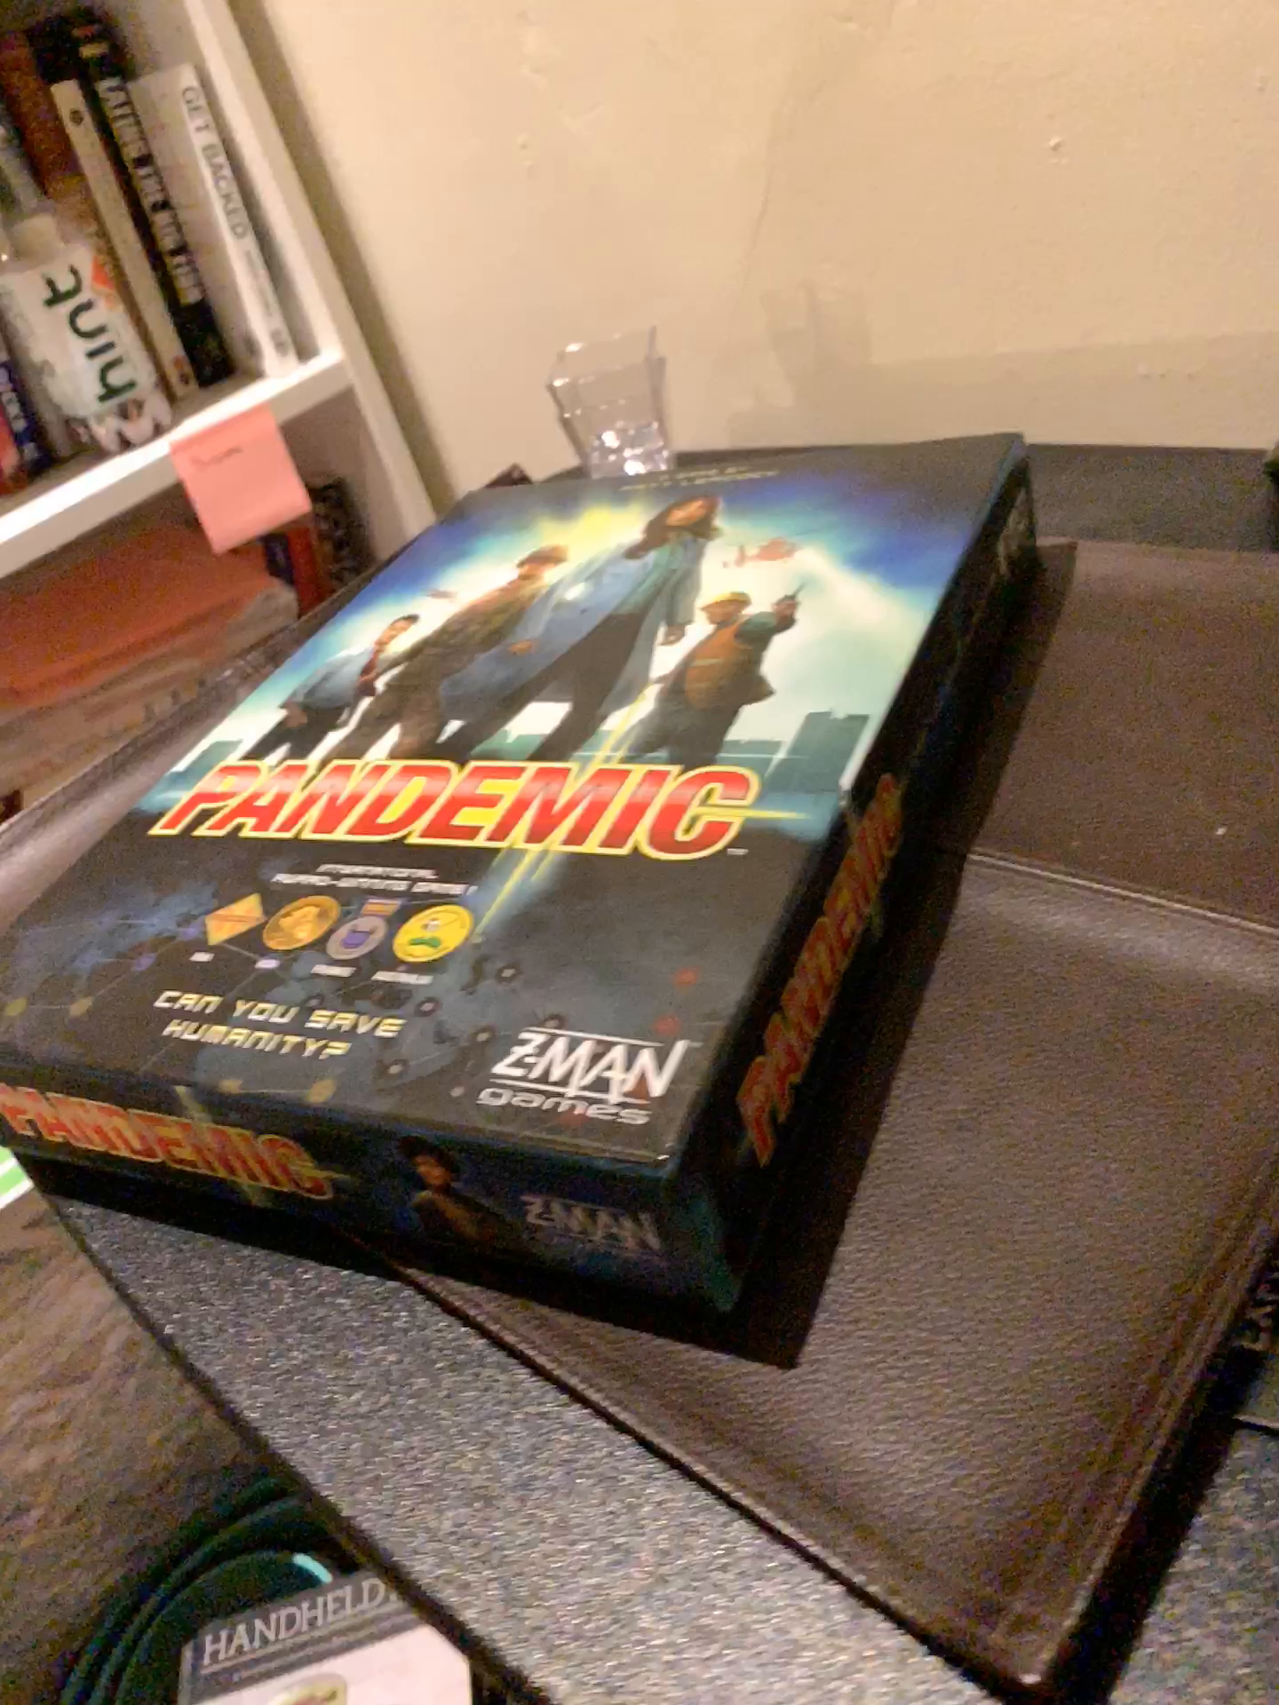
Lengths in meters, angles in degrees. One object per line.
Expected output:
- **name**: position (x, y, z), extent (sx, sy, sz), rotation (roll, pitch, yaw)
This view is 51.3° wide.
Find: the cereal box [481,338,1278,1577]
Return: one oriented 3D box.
- **cereal box**: position (0.250, 0.142, 1.271), extent (0.470, 0.993, 0.513), rotation (-17, 34, 5)
